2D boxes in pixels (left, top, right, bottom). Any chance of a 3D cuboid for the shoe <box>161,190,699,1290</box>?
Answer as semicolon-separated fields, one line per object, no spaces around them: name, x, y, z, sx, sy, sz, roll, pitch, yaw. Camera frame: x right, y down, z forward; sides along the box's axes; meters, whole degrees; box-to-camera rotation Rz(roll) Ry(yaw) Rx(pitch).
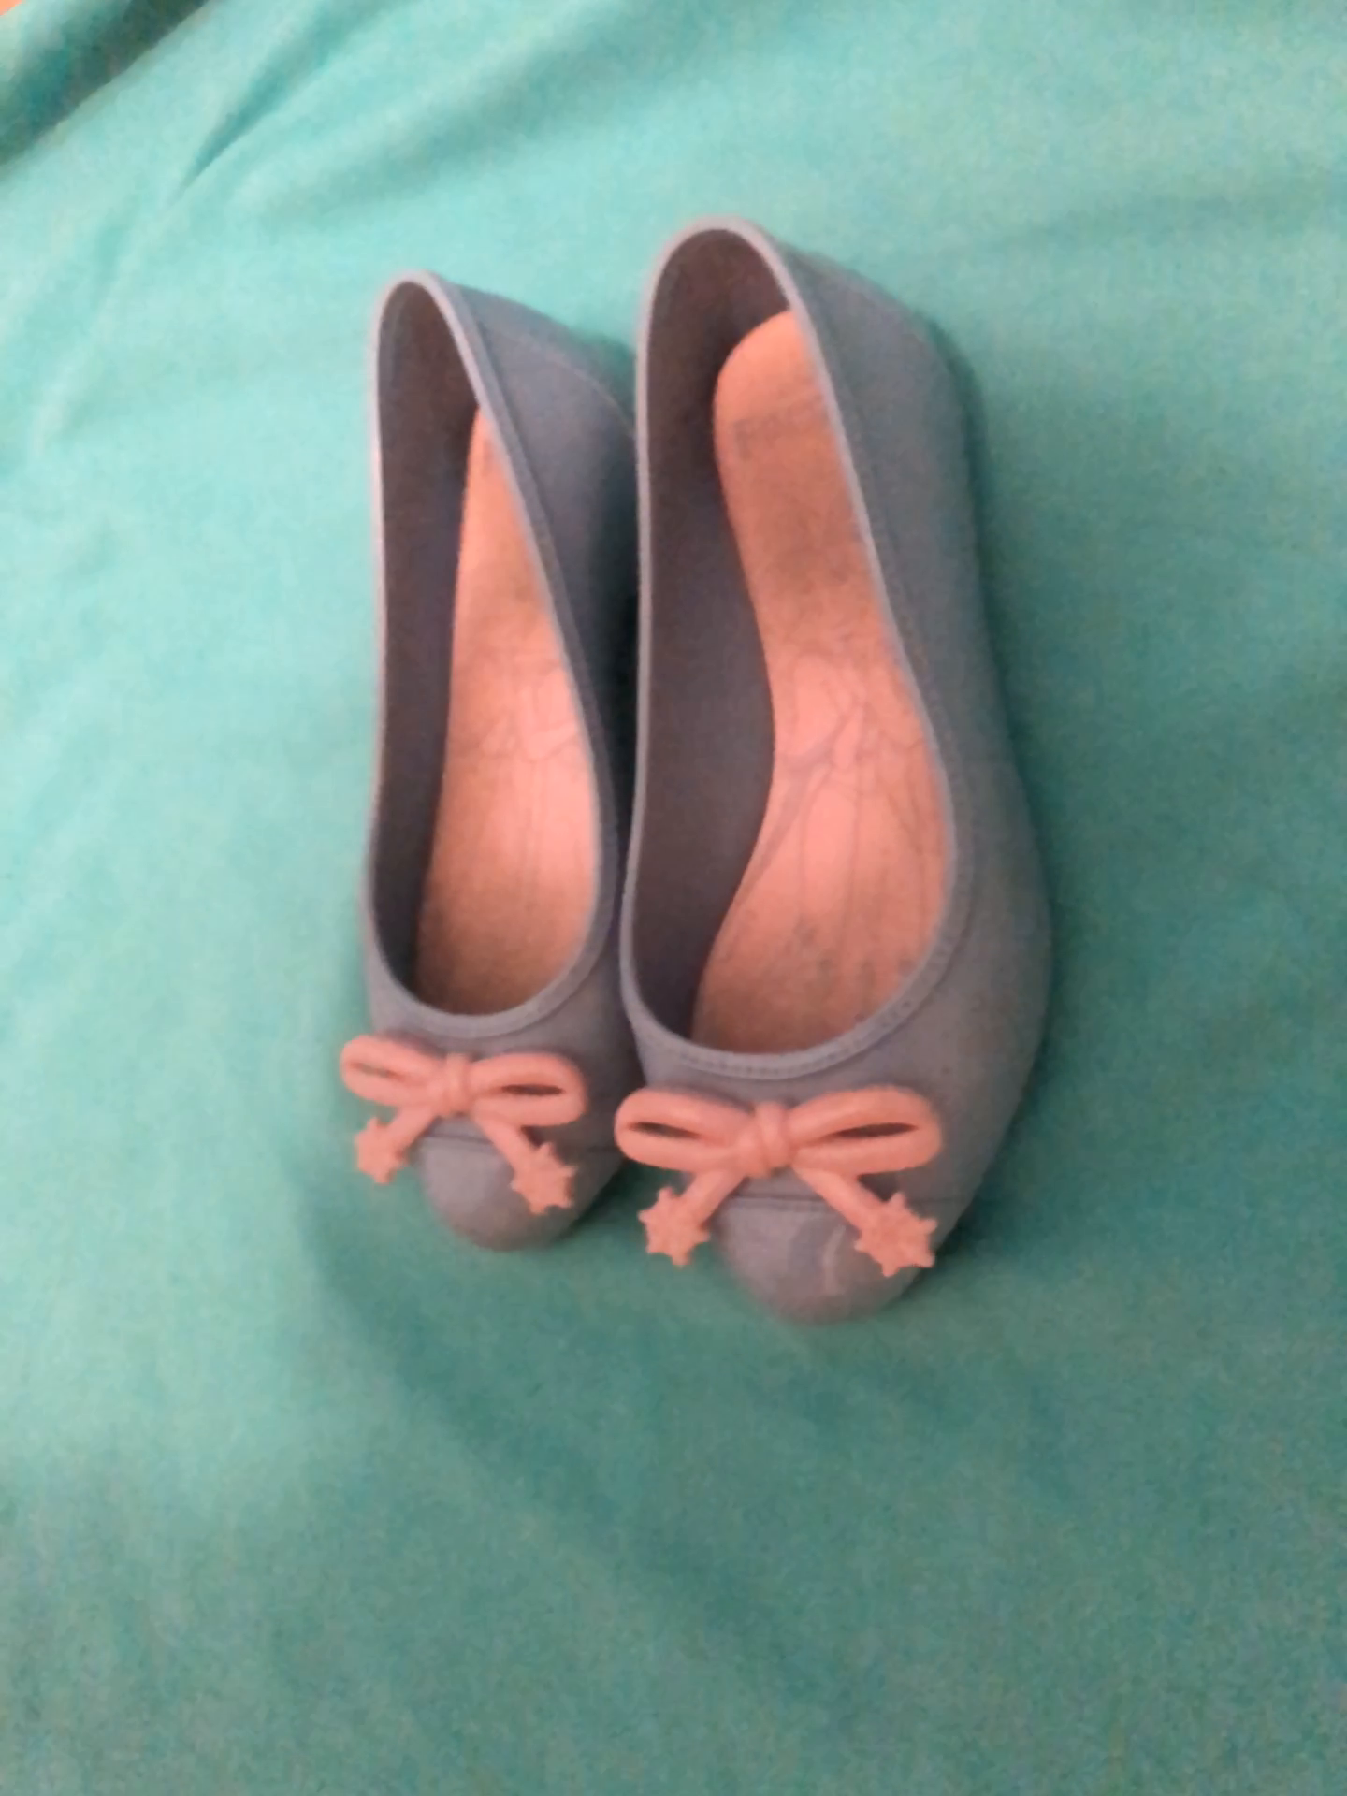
shoe;-0.046;-0.024;0.298;0.080;0.060;0.190;-6;79;31

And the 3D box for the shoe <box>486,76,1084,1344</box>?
shoe;0.018;-0.026;0.264;0.080;0.060;0.190;-6;79;31
